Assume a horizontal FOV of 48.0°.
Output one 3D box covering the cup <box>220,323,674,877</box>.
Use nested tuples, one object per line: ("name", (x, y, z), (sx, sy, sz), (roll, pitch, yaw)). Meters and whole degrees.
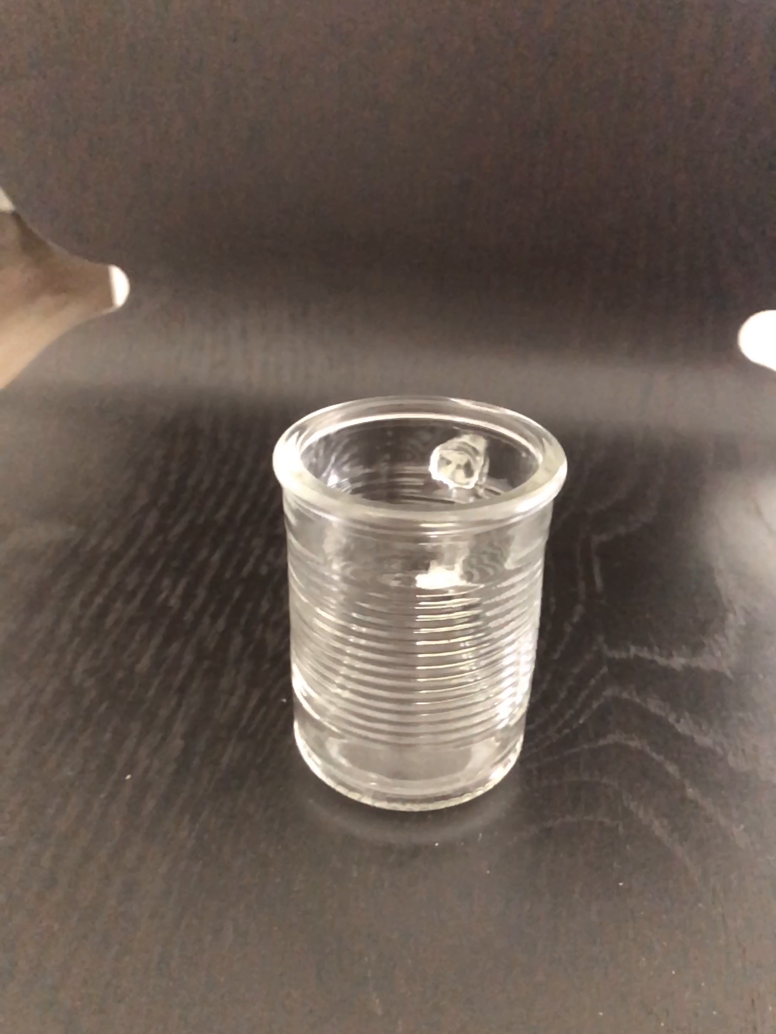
("cup", (0.015, 0.011, 0.204), (0.060, 0.080, 0.090), (21, 35, 25))
